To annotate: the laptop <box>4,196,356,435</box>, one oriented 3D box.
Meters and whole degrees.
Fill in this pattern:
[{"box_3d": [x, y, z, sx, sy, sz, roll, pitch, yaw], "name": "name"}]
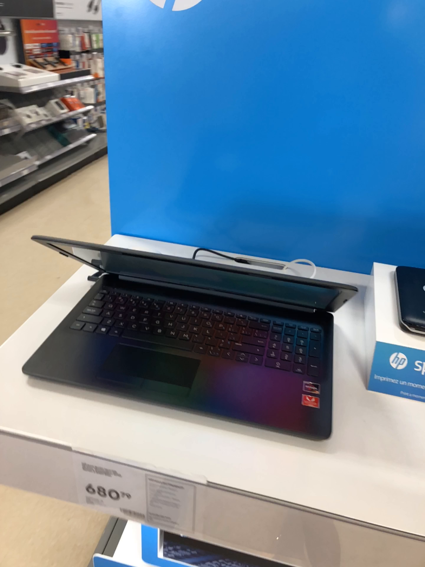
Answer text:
[{"box_3d": [-0.021, 0.016, 0.592, 0.355, 0.130, 0.243, 10, 30, 7], "name": "laptop"}]
